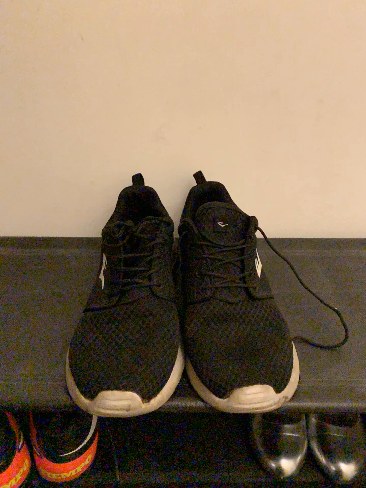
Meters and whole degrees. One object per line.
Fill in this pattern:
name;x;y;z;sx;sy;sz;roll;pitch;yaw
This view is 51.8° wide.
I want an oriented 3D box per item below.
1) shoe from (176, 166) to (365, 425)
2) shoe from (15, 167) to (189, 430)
shoe;0.054;0.018;0.397;0.120;0.099;0.303;0;32;-1
shoe;-0.051;0.021;0.393;0.110;0.099;0.303;1;32;0
